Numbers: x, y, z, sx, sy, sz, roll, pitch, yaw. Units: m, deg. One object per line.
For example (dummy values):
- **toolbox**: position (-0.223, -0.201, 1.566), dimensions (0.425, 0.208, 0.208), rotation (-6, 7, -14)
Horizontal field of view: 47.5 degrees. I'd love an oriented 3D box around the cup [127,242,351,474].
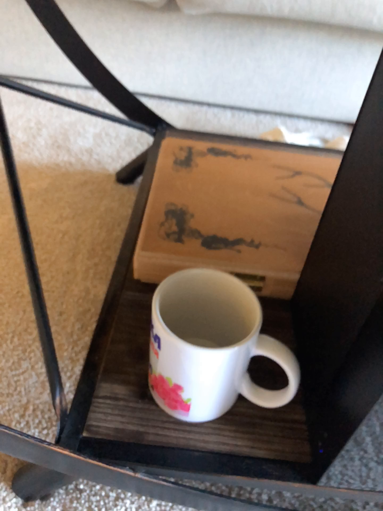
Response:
- **cup**: position (0.032, 0.077, 0.349), dimensions (0.140, 0.100, 0.090), rotation (23, 44, 17)
